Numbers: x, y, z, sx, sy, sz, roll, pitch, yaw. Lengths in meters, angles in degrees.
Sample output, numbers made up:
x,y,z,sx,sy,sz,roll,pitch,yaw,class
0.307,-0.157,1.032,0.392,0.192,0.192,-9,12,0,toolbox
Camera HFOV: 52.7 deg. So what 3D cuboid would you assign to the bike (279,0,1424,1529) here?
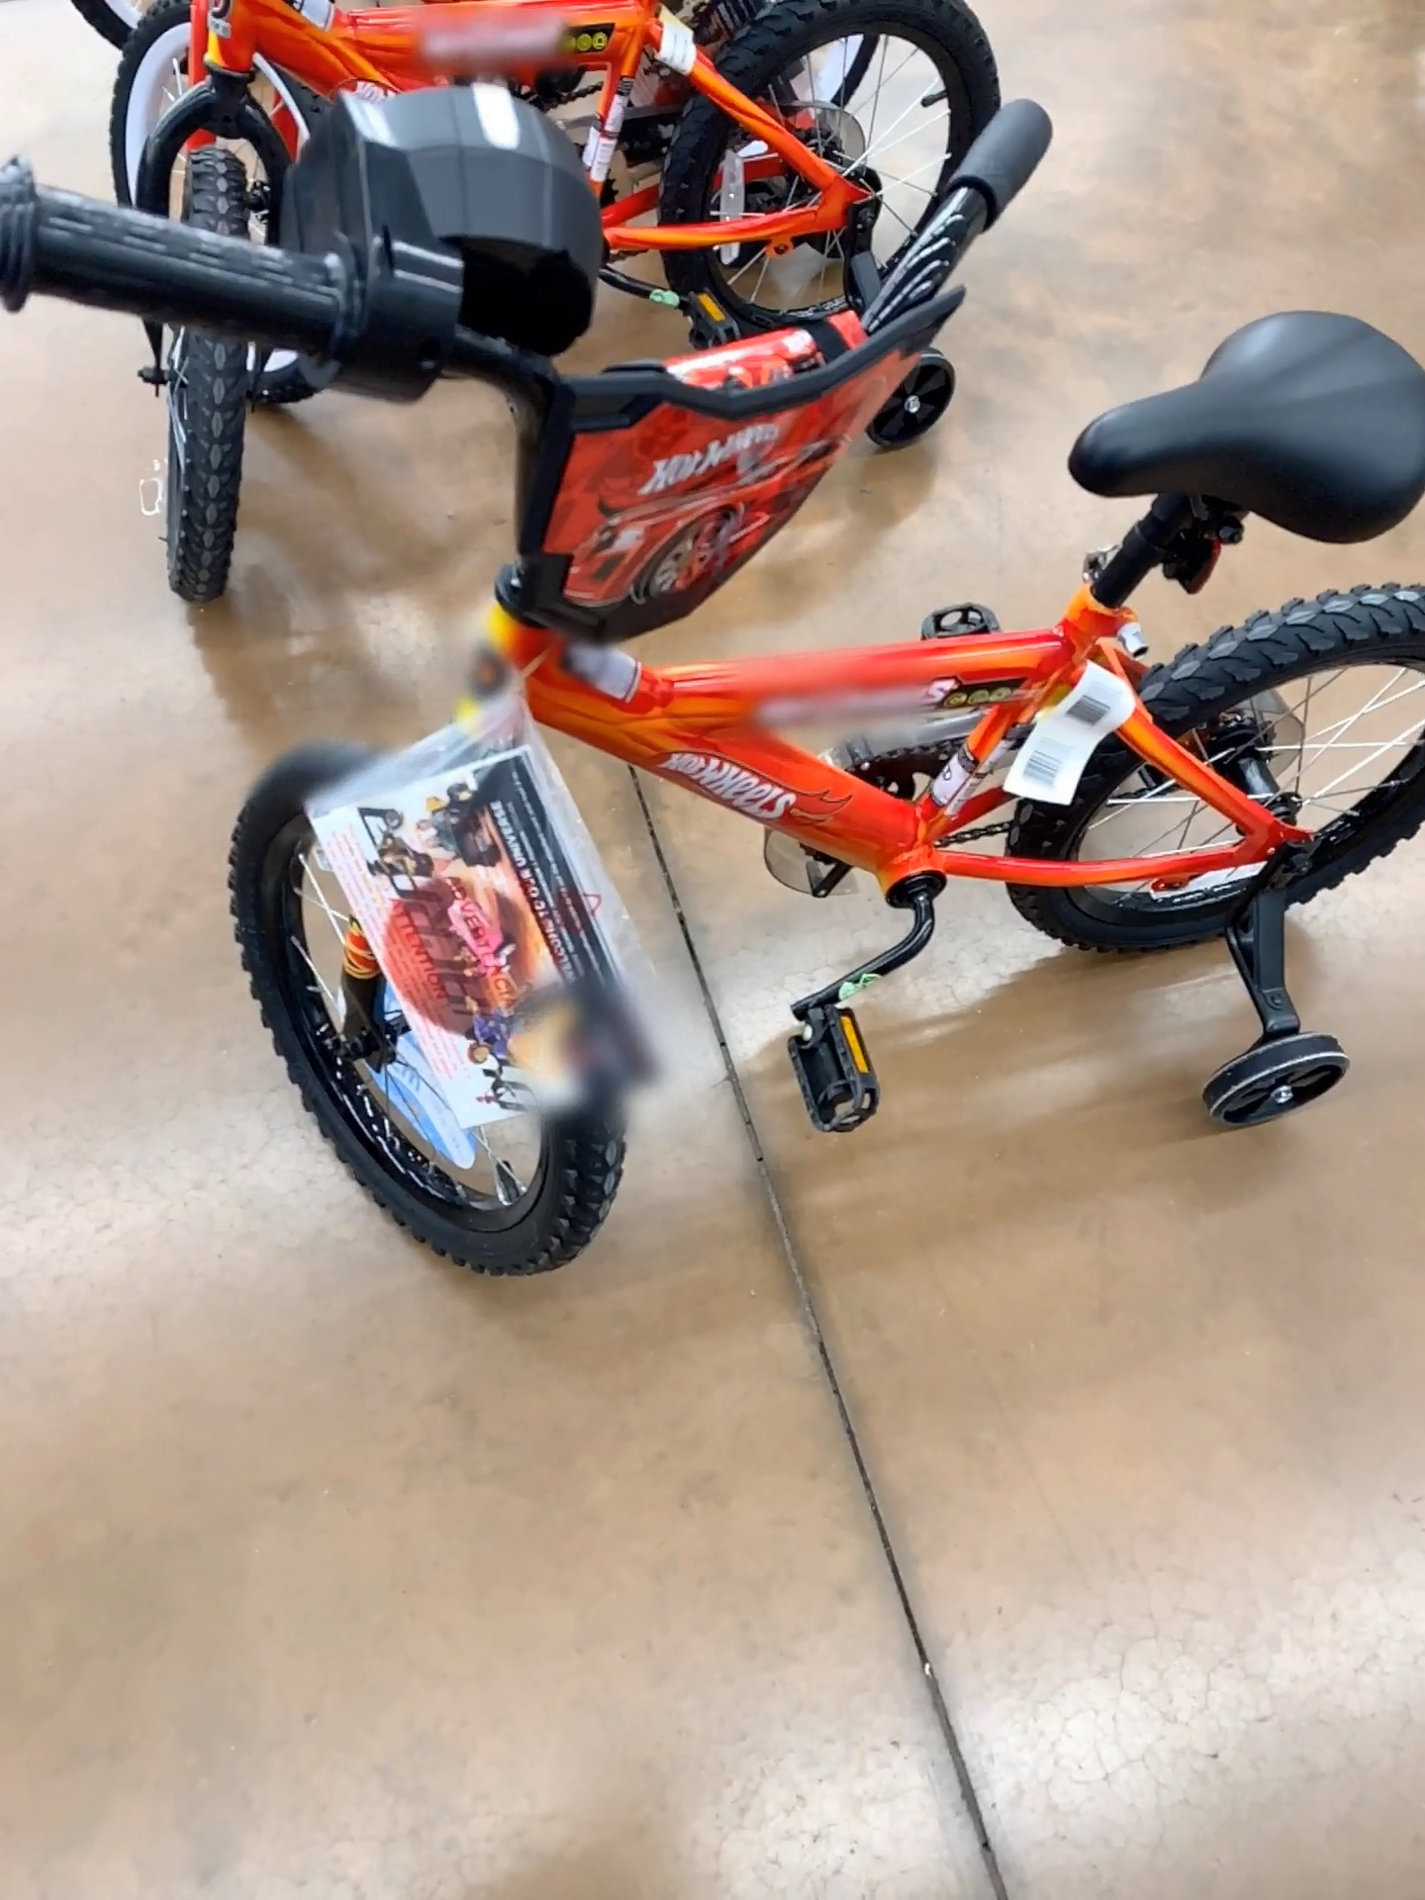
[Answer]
x,y,z,sx,sy,sz,roll,pitch,yaw,class
0.199,-0.133,0.972,0.740,0.825,0.511,-25,61,-9,bike
